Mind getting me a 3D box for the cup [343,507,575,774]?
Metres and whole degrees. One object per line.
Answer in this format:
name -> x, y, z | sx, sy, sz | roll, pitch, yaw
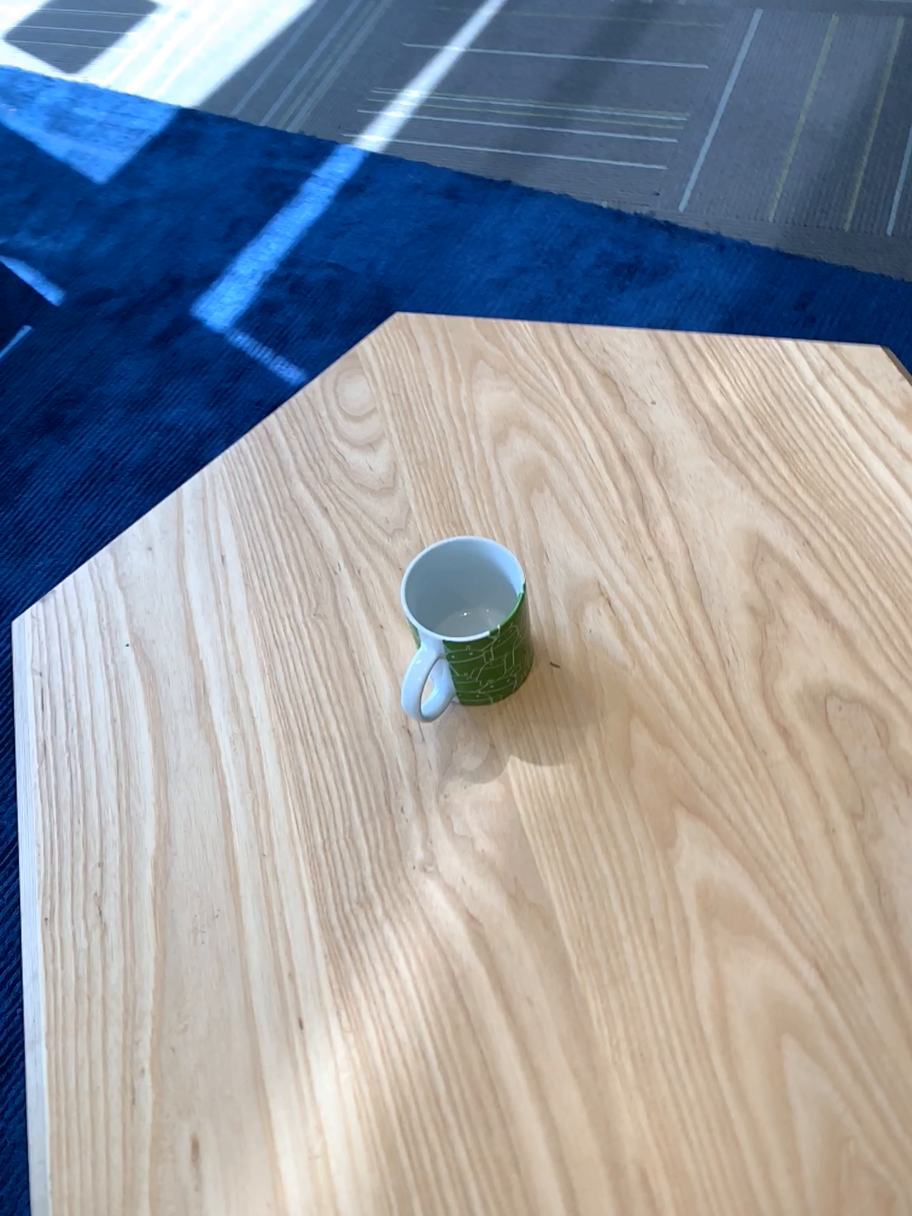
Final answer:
cup -> 0.007, 0.021, 0.608 | 0.090, 0.090, 0.120 | 27, 66, 22
